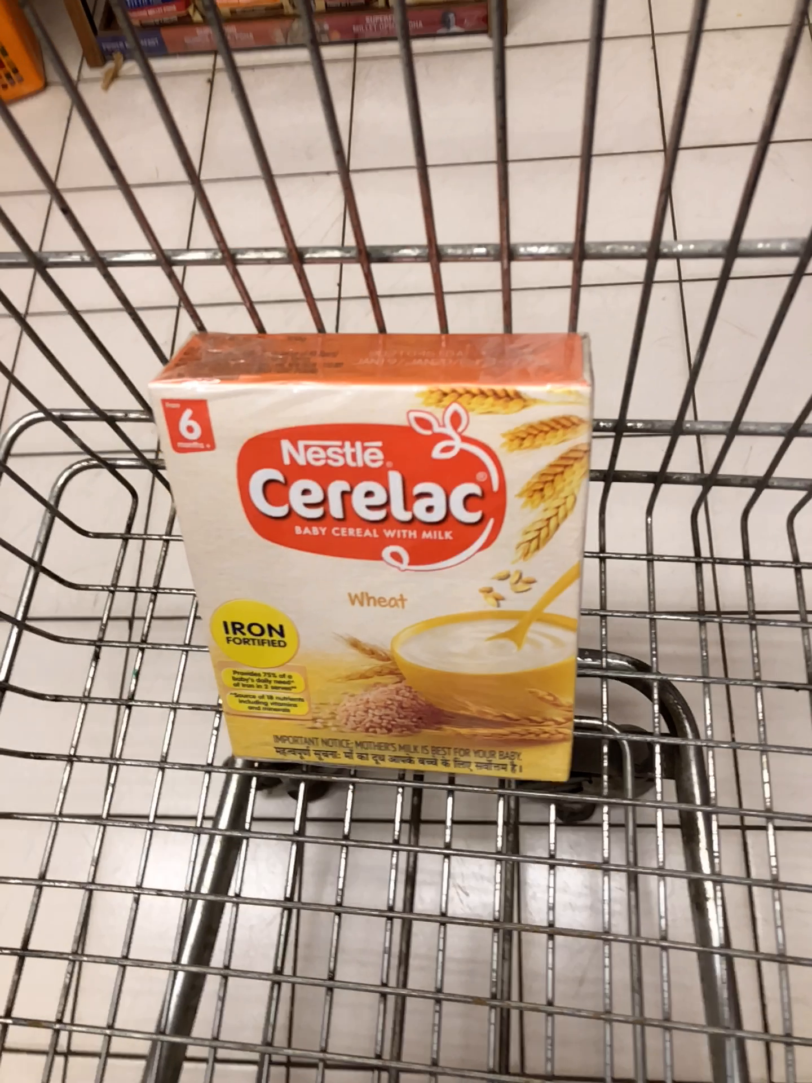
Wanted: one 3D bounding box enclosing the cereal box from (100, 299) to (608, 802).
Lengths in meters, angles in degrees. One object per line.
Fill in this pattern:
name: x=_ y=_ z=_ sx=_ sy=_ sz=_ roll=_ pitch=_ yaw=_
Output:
cereal box: x=-0.011 y=0.008 z=0.327 sx=0.150 sy=0.179 sz=0.050 roll=2 pitch=32 yaw=8
